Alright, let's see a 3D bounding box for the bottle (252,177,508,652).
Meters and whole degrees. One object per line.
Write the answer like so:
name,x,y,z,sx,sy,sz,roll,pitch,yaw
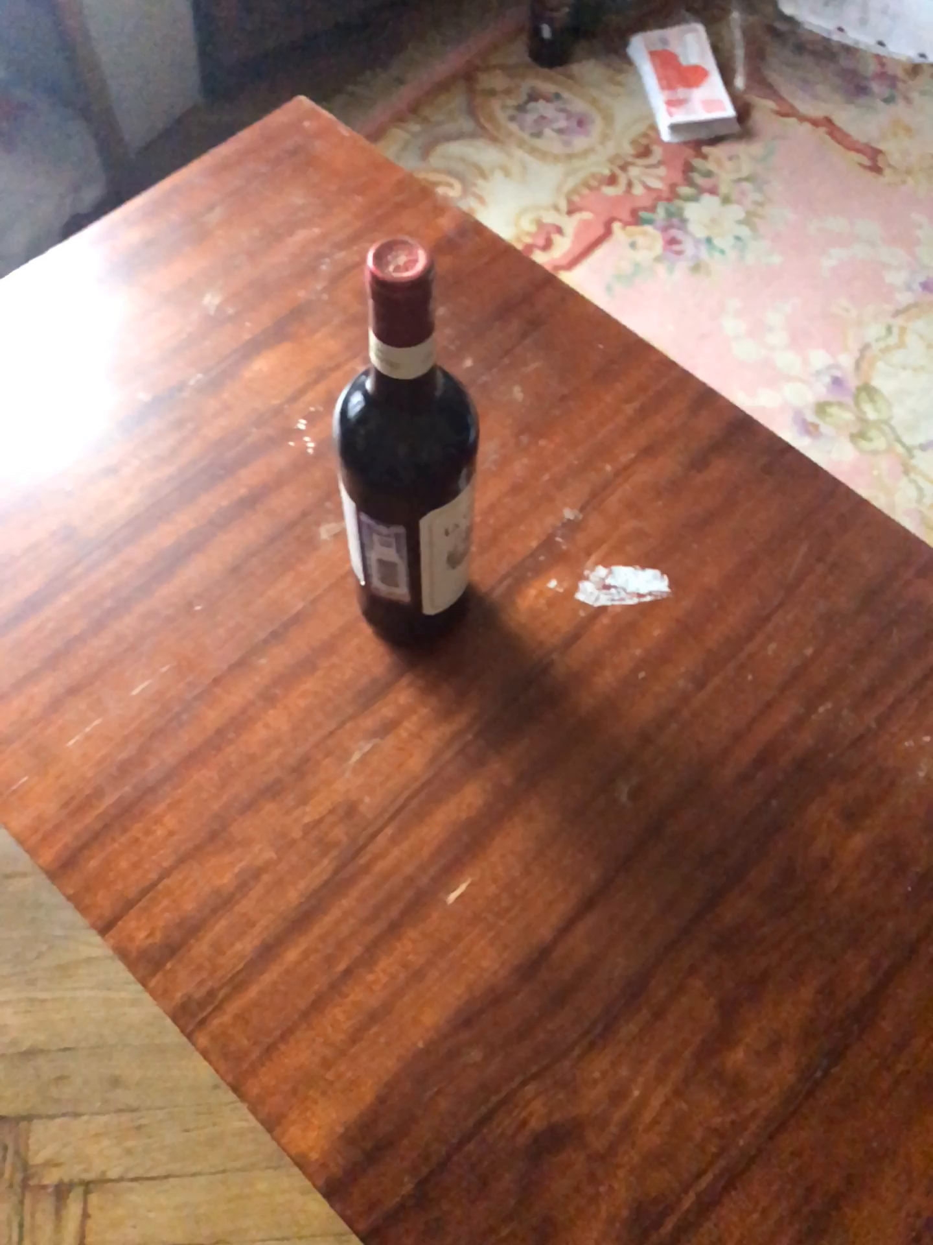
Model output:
bottle,-0.034,-0.084,0.532,0.090,0.269,0.090,0,65,-1
